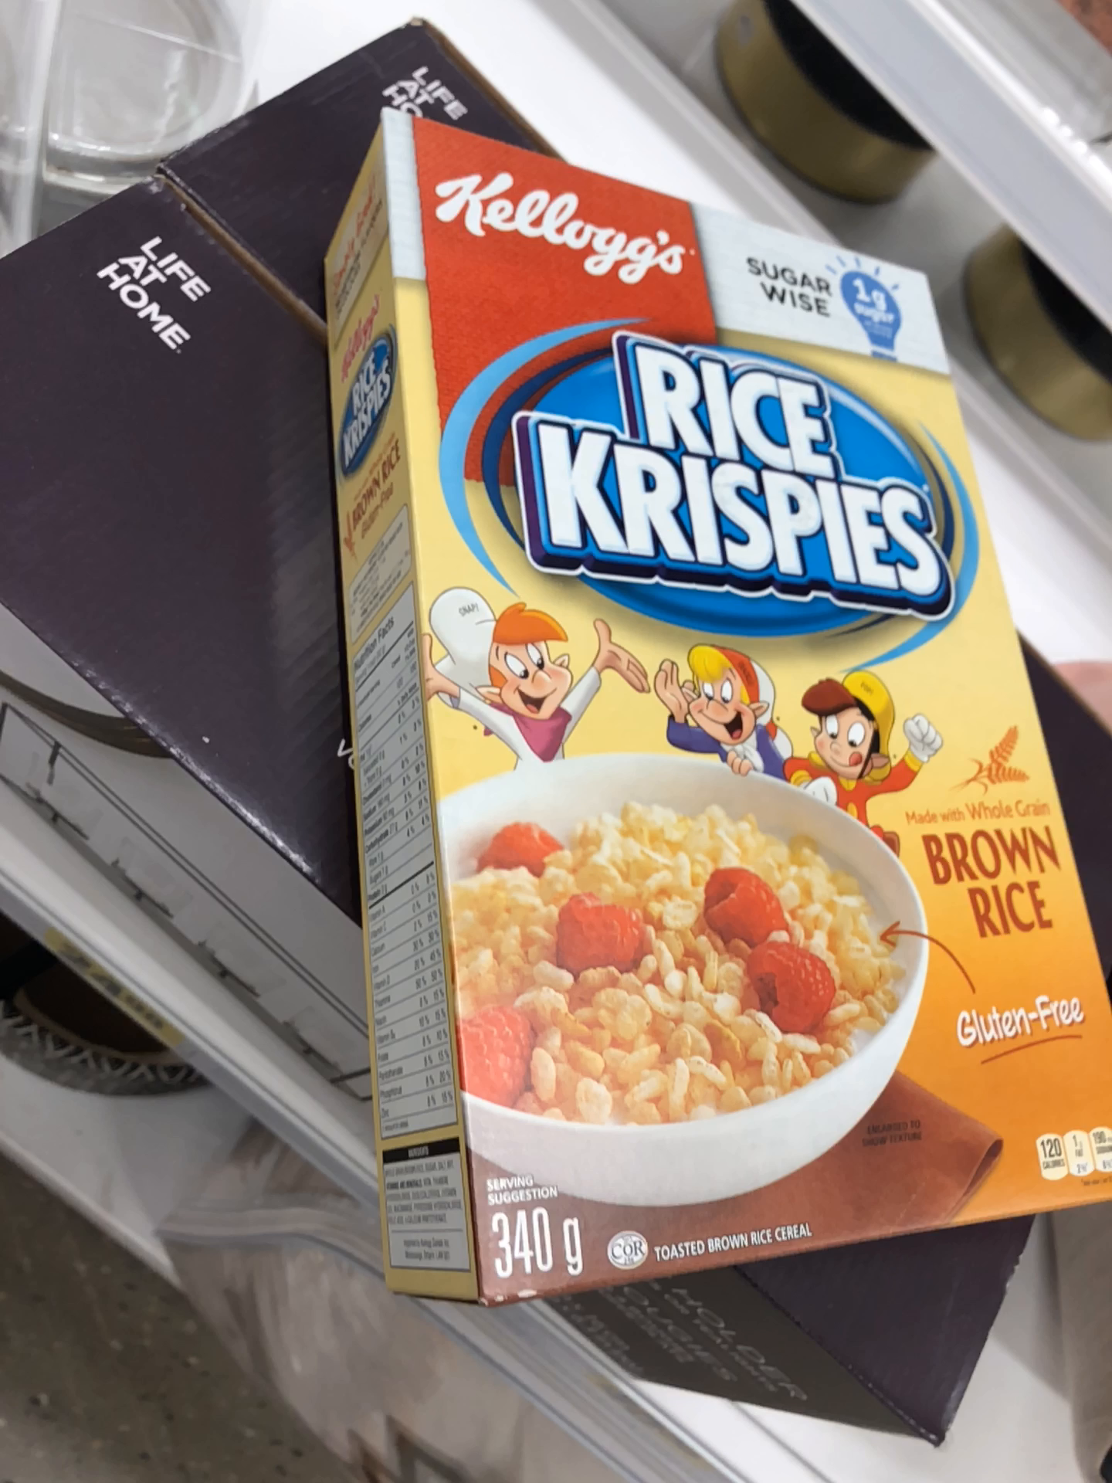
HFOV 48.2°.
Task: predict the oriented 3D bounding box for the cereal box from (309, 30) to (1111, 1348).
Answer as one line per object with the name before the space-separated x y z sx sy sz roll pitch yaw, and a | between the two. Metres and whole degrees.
cereal box | 0.047 -0.019 0.367 0.221 0.070 0.330 7 66 -29
